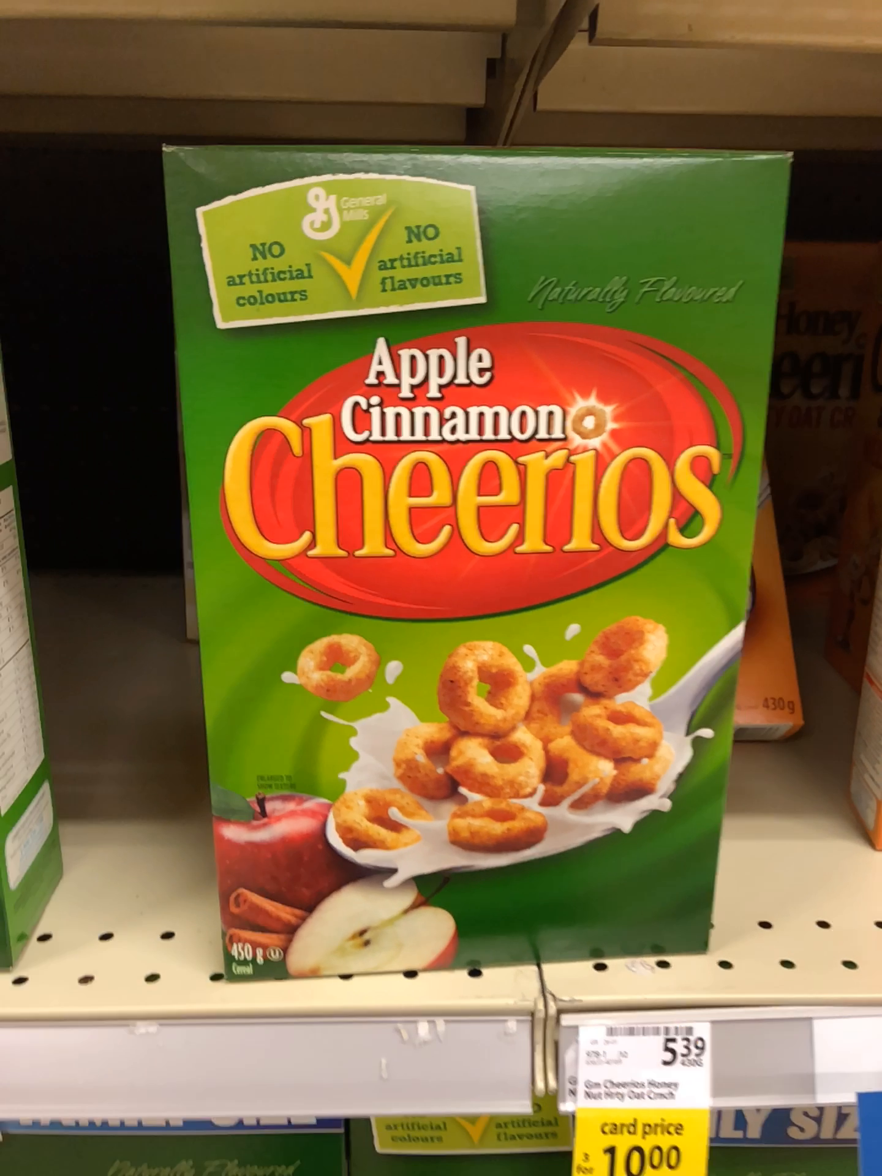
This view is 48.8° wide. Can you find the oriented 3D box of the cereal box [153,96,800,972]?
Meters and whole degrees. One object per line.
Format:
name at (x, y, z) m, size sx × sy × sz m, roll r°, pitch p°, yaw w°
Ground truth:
cereal box at (0.010, -0.011, 0.376) m, size 0.200 × 0.309 × 0.070 m, roll -1°, pitch 17°, yaw -6°
